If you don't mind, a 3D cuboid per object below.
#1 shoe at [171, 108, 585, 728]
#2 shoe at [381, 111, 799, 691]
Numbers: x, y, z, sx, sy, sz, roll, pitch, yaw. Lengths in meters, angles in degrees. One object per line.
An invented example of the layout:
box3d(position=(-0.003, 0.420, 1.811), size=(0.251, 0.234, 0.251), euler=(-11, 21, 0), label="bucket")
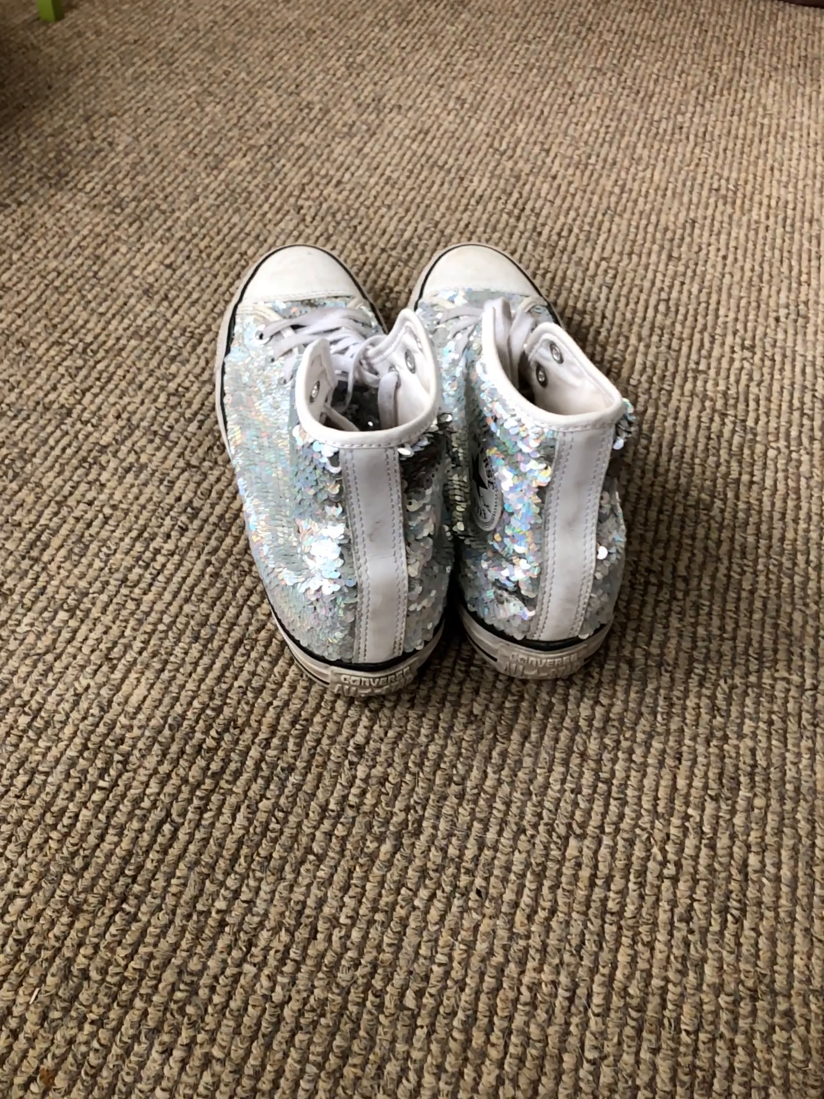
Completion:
box3d(position=(-0.035, -0.076, 0.432), size=(0.112, 0.137, 0.265), euler=(-9, 52, -14), label="shoe")
box3d(position=(0.058, -0.083, 0.441), size=(0.112, 0.127, 0.265), euler=(-2, 51, -9), label="shoe")
